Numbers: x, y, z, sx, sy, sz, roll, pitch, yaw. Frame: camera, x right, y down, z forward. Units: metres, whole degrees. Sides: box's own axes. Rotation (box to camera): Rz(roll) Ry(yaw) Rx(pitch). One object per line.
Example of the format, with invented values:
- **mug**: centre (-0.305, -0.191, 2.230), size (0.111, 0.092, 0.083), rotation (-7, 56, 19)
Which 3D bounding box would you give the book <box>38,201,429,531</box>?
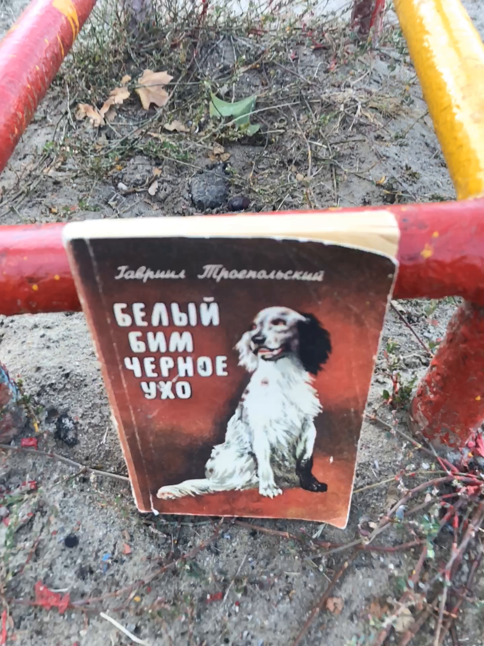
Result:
- **book**: centre (0.001, 0.036, 0.253), size (0.130, 0.196, 0.030), rotation (1, 43, 5)
